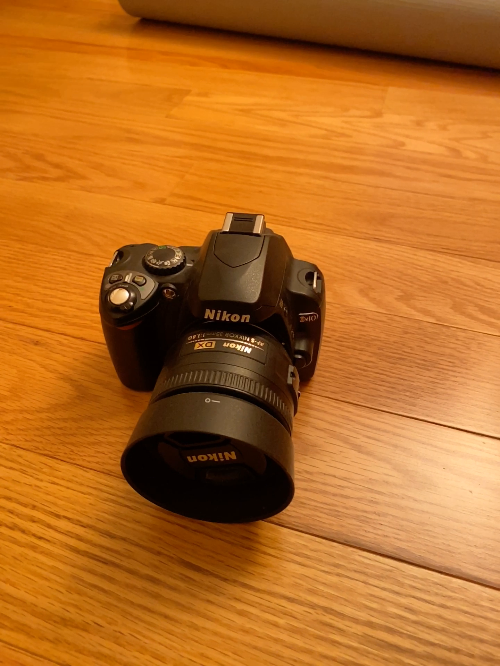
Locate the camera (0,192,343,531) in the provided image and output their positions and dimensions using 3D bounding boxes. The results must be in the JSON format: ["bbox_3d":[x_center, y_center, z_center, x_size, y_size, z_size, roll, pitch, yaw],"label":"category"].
[{"bbox_3d":[-0.024,0.005,0.260,0.130,0.079,0.141,5,45,6],"label":"camera"}]
